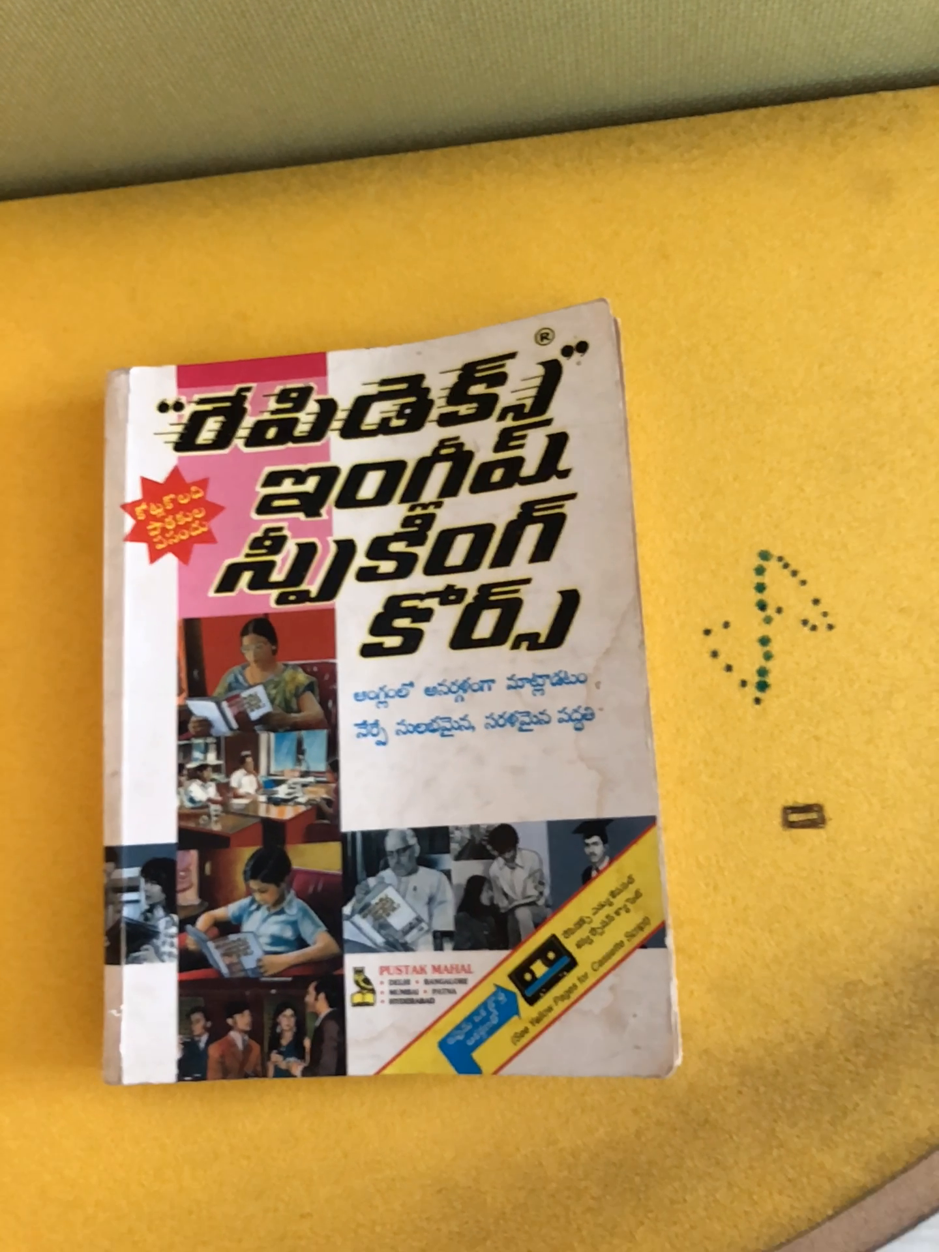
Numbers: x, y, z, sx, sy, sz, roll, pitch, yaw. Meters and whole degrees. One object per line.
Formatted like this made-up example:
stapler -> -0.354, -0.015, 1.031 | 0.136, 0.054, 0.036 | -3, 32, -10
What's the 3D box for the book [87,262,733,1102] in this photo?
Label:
book -> -0.026, 0.015, 0.341 | 0.190, 0.030, 0.250 | -5, 79, 7
